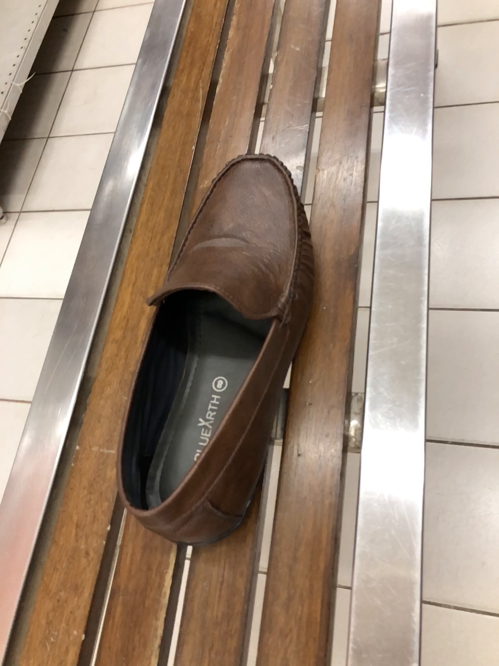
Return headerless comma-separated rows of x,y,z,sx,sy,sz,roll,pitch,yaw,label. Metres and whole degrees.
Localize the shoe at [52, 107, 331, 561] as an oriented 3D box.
-0.020,-0.008,0.367,0.090,0.090,0.281,6,68,19,shoe
